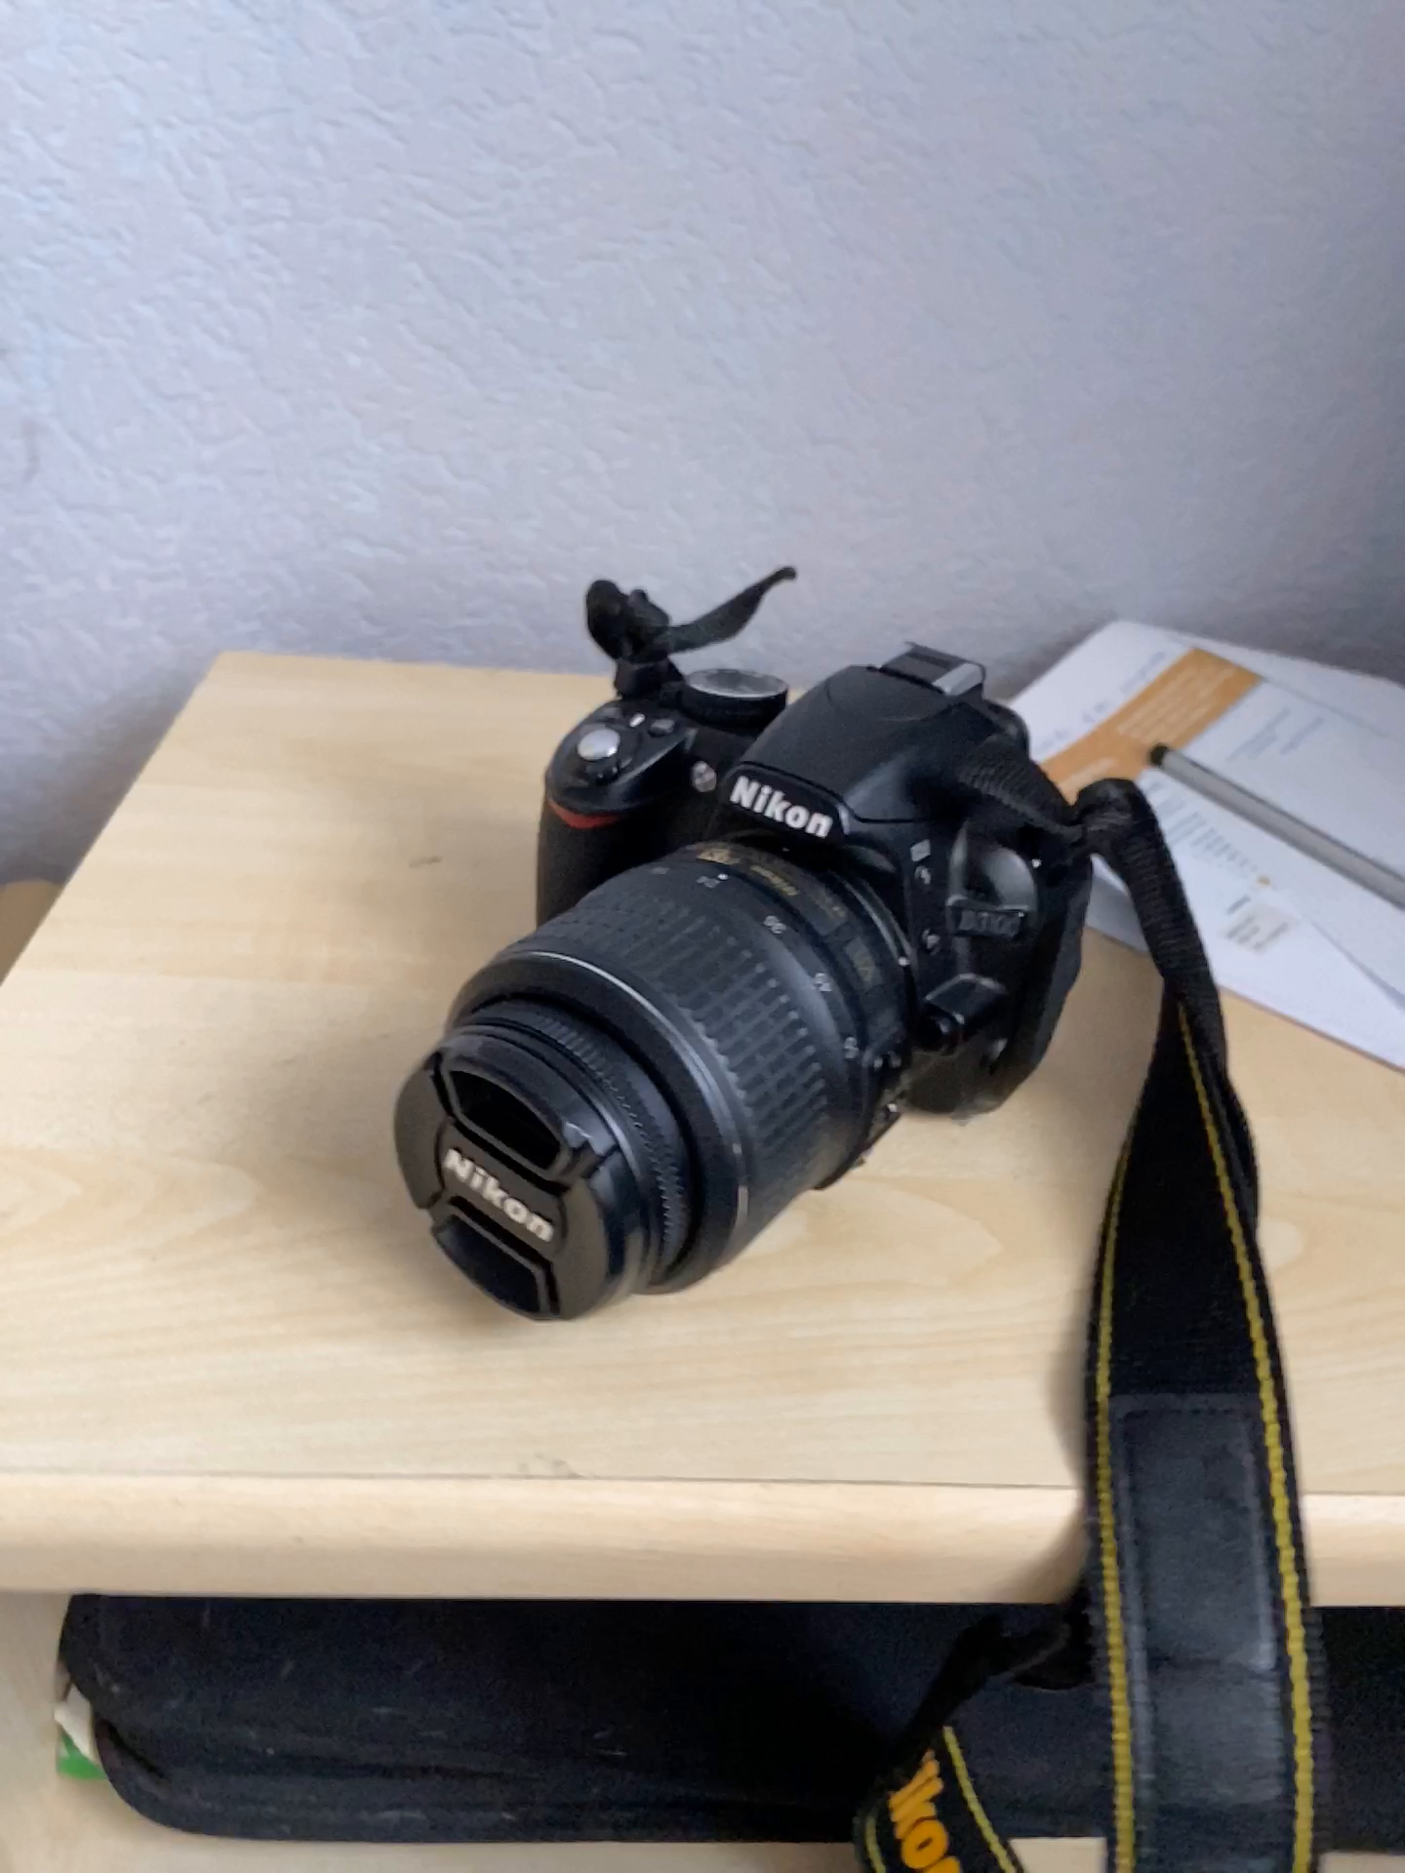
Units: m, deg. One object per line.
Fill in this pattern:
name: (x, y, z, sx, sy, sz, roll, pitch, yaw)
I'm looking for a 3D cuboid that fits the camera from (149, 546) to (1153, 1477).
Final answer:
camera: (-0.003, -0.003, 0.293, 0.118, 0.091, 0.152, 24, 37, 27)
